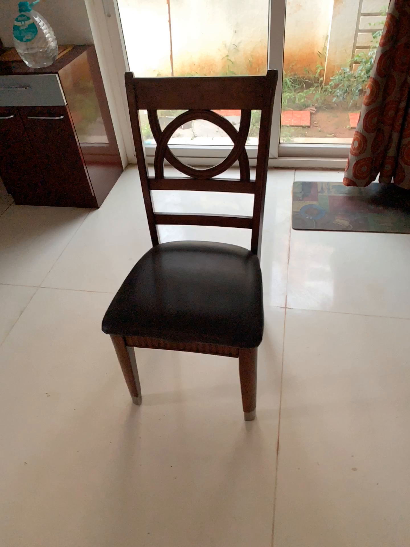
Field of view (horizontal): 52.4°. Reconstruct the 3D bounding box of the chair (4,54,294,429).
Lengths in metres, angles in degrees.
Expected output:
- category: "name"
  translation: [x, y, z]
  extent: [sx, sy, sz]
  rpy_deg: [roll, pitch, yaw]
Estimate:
- category: "chair"
  translation: [-0.036, -0.058, 1.387]
  extent: [0.570, 1.025, 0.642]
  rpy_deg: [4, 46, 11]
